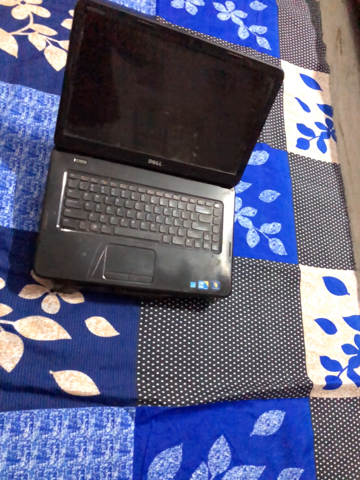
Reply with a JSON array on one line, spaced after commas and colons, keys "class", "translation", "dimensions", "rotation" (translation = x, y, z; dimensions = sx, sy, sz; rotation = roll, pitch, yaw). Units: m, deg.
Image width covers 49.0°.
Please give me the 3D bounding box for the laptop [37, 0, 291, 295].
[{"class": "laptop", "translation": [-0.020, -0.130, 0.685], "dimensions": [0.364, 0.187, 0.389], "rotation": [9, 72, -22]}]
